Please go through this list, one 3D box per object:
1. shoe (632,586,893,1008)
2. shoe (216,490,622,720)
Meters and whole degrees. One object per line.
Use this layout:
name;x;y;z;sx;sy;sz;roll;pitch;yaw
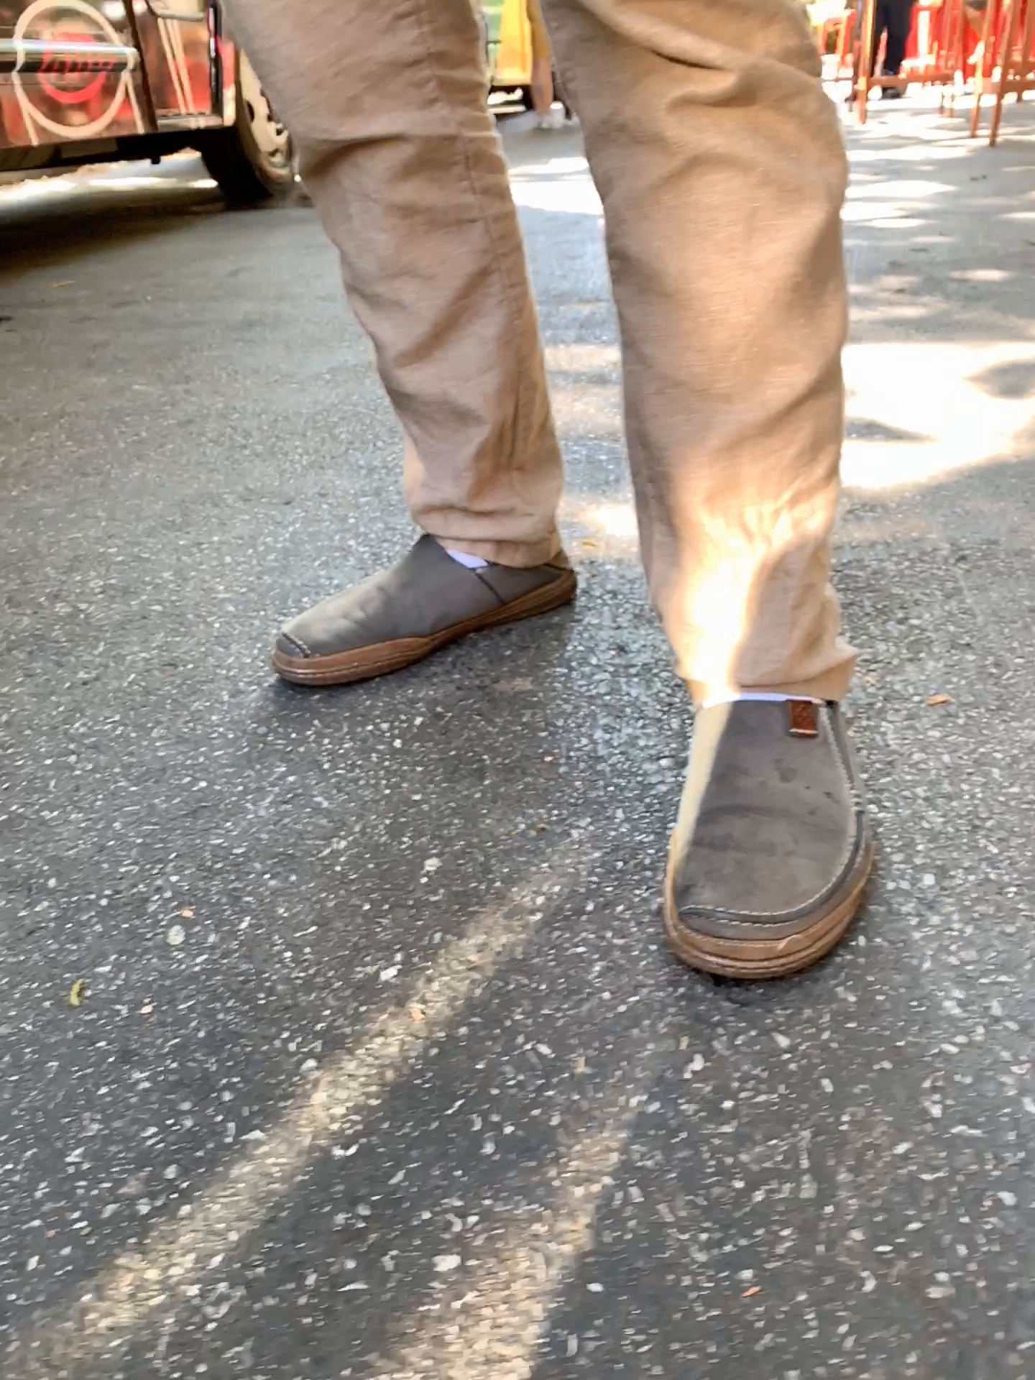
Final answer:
shoe;0.152;0.040;0.658;0.120;0.080;0.322;1;31;13
shoe;-0.074;-0.083;0.897;0.321;0.060;0.121;-25;34;-29
